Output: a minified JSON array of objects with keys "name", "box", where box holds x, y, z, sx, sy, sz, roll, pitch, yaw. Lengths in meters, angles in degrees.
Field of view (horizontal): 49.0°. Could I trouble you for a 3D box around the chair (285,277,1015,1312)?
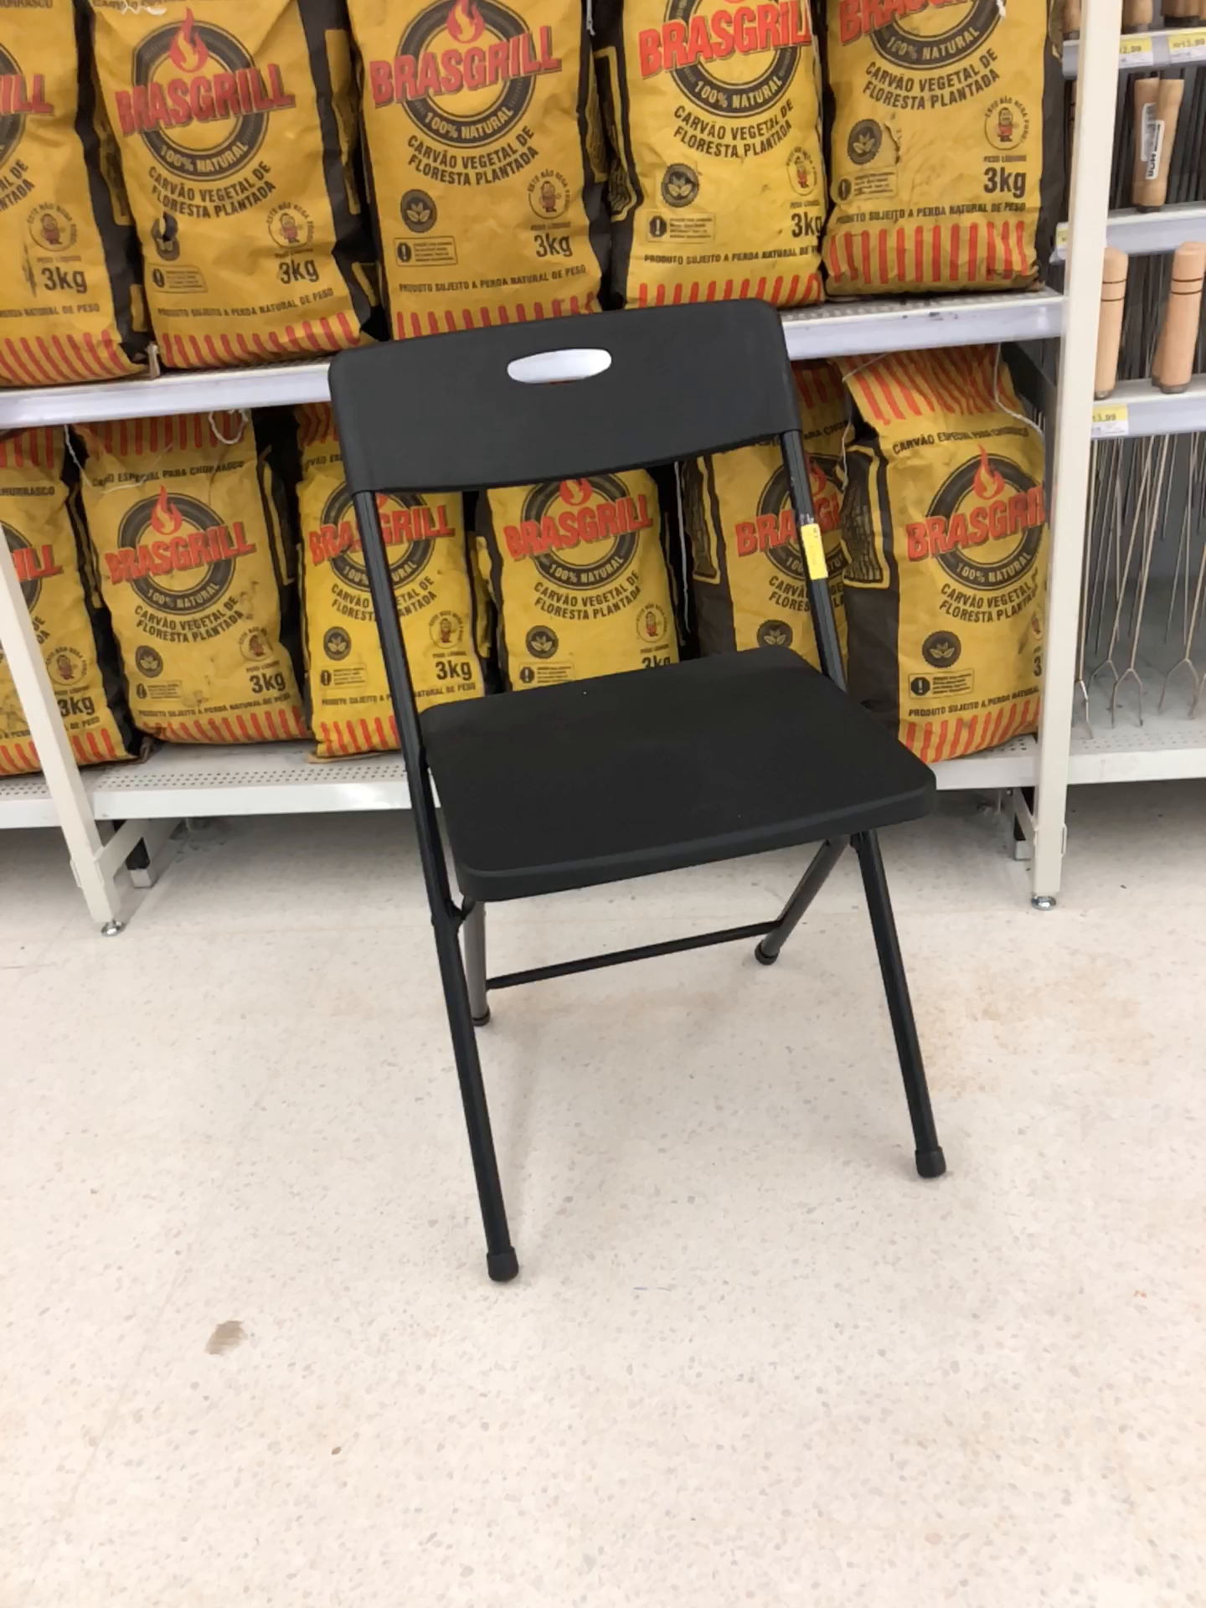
[{"name":"chair","box":[0.026,-0.037,1.170,0.460,0.715,0.453,-11,27,-9]}]
